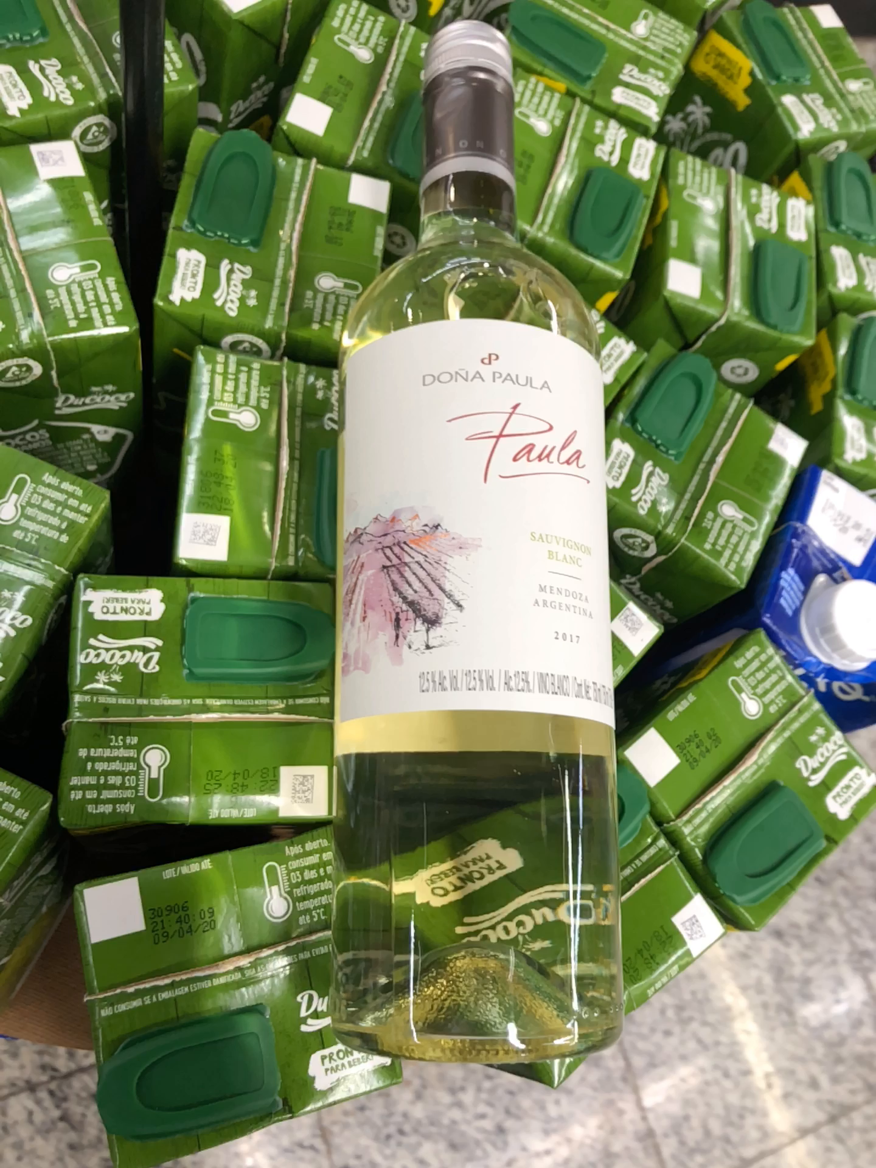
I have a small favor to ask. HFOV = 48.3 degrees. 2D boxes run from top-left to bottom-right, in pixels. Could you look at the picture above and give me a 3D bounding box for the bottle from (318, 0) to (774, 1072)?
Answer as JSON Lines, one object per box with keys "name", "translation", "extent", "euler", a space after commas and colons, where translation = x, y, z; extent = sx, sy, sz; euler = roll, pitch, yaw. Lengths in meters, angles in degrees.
{"name": "bottle", "translation": [0.016, -0.054, 0.273], "extent": [0.080, 0.070, 0.331], "euler": [5, 69, -15]}
